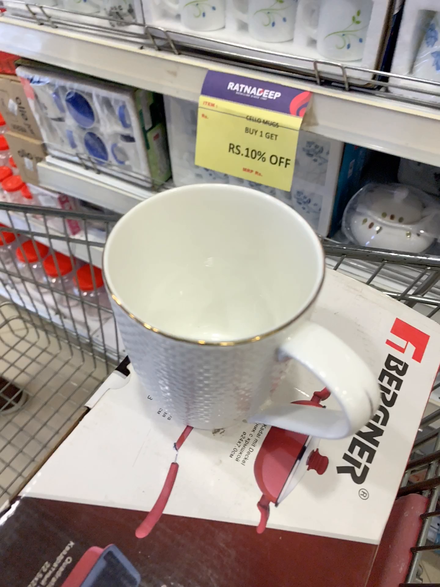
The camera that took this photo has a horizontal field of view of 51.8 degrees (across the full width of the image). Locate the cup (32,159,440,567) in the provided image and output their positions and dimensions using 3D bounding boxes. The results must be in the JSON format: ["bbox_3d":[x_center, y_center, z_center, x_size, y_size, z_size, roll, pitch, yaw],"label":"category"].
[{"bbox_3d":[0.006,0.021,0.189,0.120,0.080,0.090,36,60,28],"label":"cup"}]
